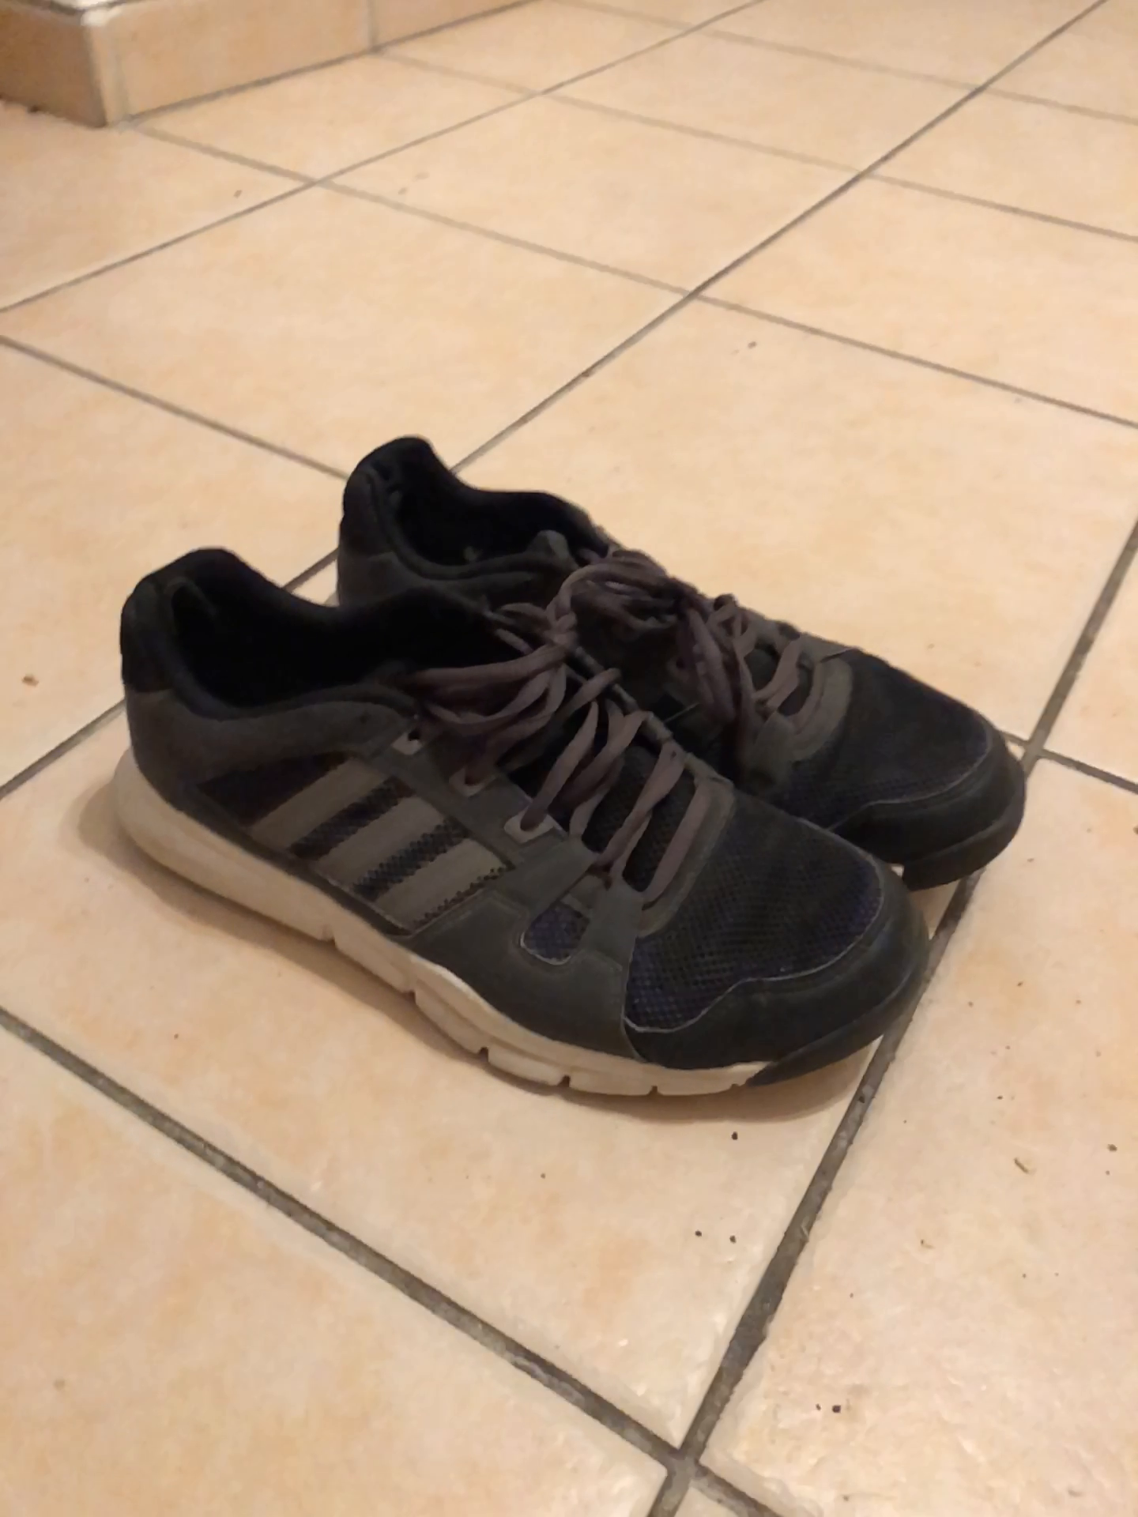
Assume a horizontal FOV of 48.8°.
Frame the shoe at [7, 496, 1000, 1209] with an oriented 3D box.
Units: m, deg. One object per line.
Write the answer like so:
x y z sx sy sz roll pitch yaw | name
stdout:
-0.023 0.017 0.410 0.280 0.099 0.111 19 40 15 | shoe

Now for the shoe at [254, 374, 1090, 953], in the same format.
0.036 -0.047 0.488 0.280 0.099 0.121 19 44 15 | shoe
